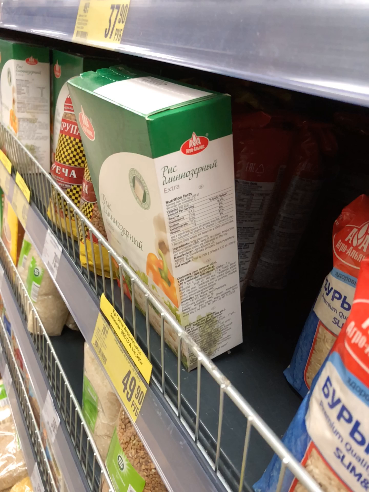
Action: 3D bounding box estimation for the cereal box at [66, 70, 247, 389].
[{"bbox_3d":[-0.019,-0.014,0.321,0.050,0.209,0.140,-24,37,-22],"label":"cereal box"}]
